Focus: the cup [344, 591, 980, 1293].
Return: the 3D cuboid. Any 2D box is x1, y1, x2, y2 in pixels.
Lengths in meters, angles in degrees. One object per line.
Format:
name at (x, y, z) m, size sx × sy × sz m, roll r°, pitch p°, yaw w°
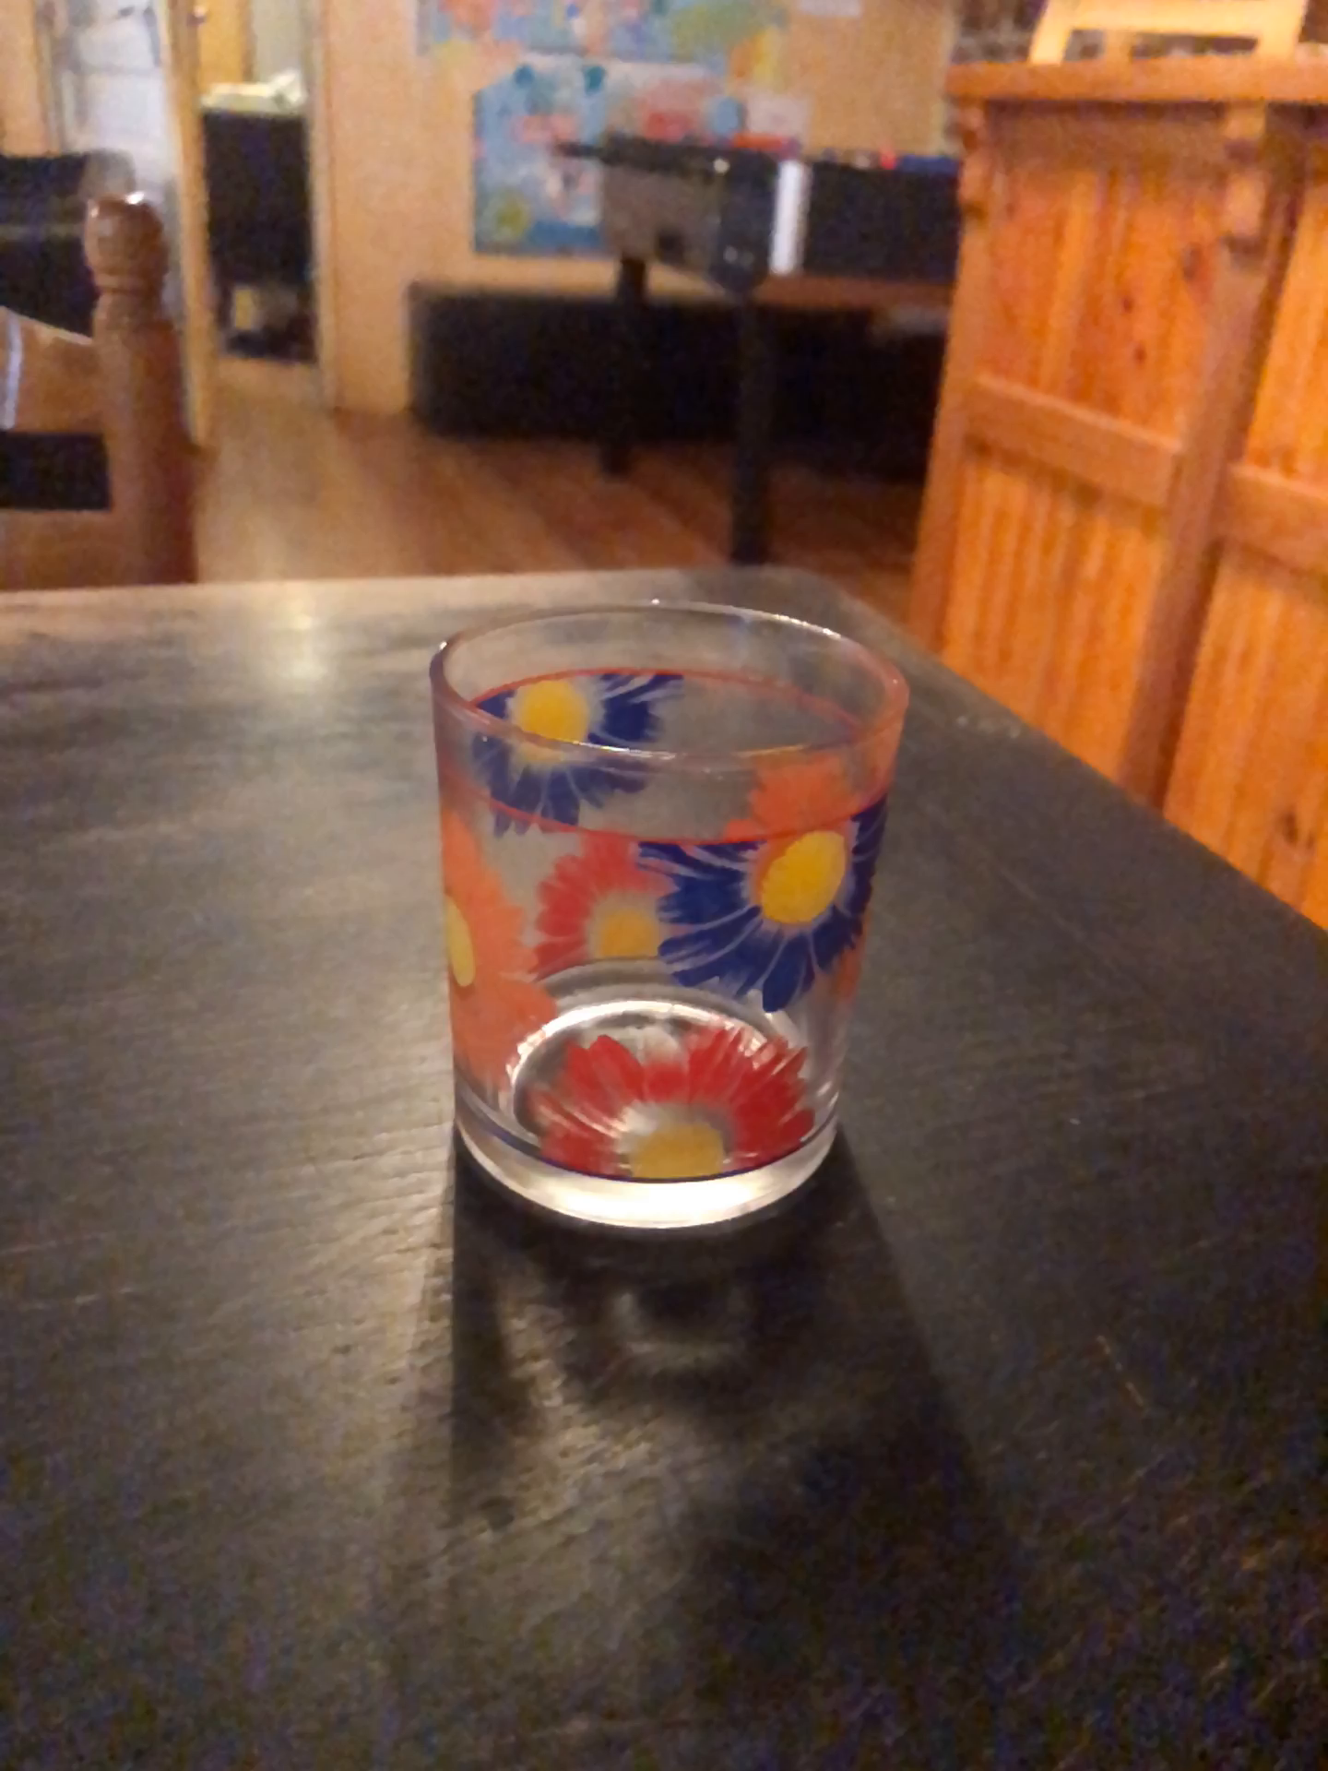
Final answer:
cup at (-0.007, 0.003, 0.242) m, size 0.076 × 0.079 × 0.078 m, roll 3°, pitch 26°, yaw -2°
